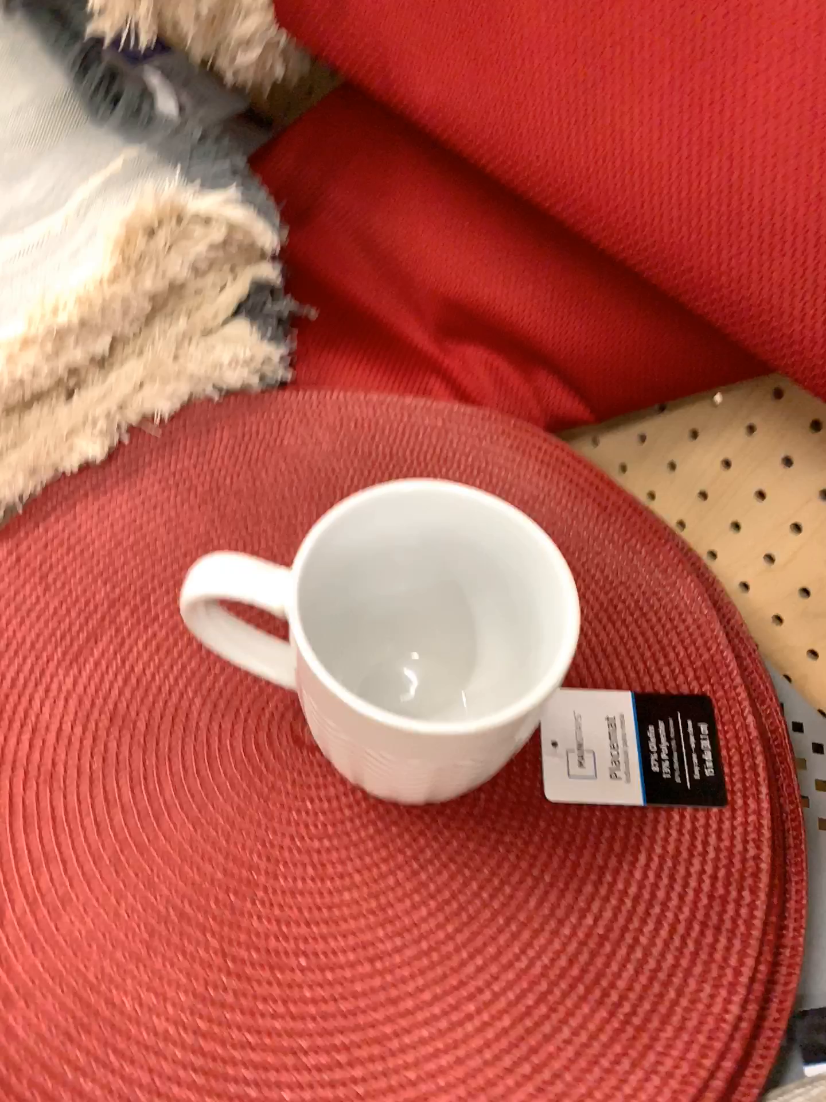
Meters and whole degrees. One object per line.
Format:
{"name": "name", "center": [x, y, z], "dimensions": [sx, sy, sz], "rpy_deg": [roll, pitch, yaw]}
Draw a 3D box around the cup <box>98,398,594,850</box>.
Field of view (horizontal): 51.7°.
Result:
{"name": "cup", "center": [-0.017, 0.024, 0.303], "dimensions": [0.140, 0.090, 0.100], "rpy_deg": [12, 44, 1]}
